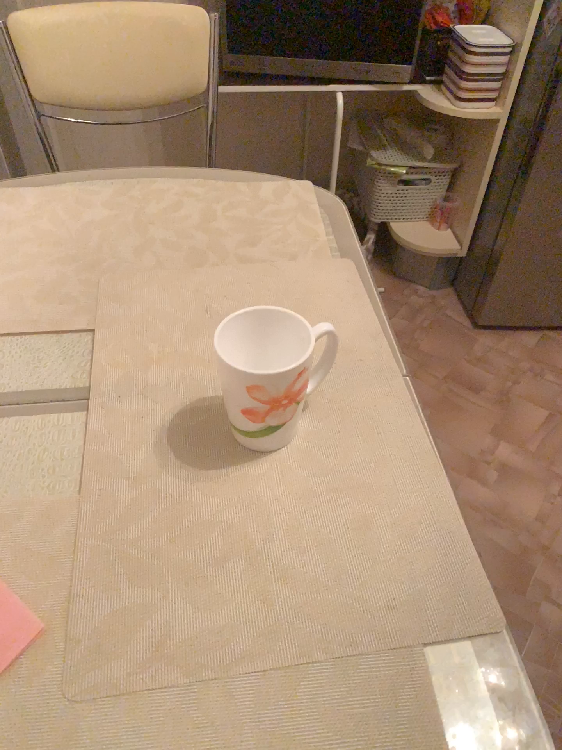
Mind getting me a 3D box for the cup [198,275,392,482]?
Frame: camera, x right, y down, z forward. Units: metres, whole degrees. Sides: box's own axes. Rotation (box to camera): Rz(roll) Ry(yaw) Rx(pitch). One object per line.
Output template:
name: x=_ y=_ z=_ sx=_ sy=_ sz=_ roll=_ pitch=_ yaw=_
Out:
cup: x=0.009 y=0.000 z=0.464 sx=0.119 sy=0.099 sz=0.084 roll=-25 pitch=52 yaw=-24
